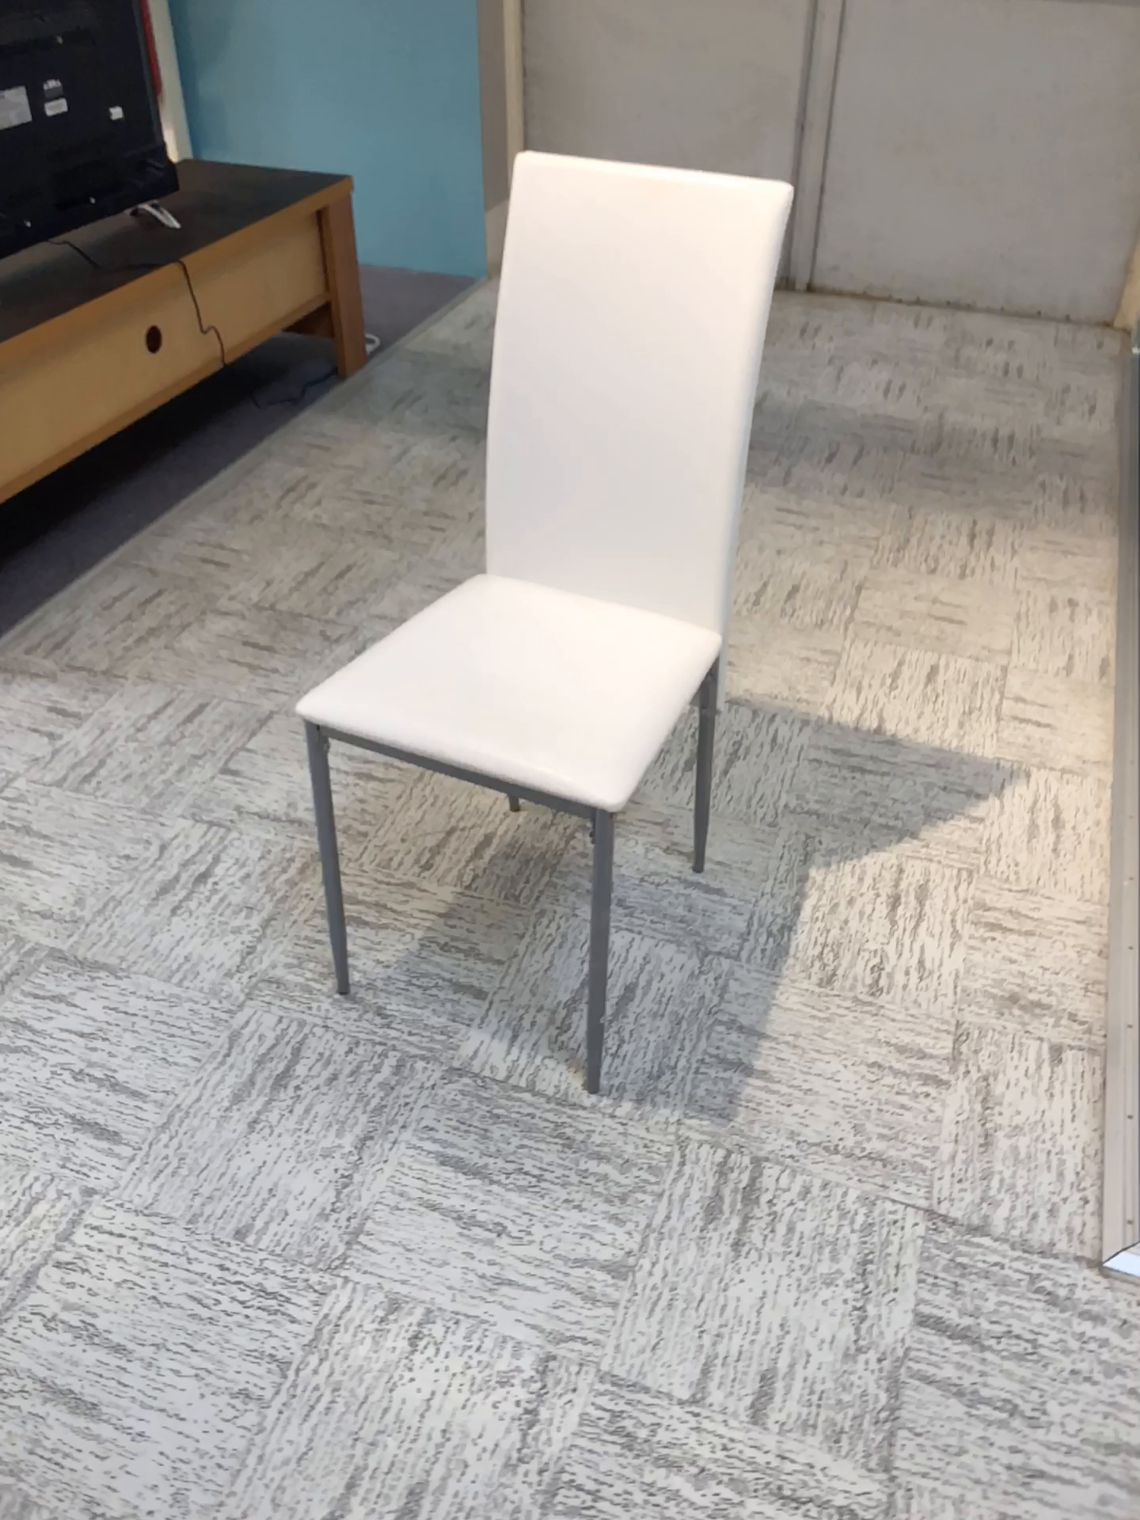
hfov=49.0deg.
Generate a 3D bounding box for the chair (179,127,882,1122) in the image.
[{"bbox_3d":[-0.010,-0.160,1.488,0.470,0.944,0.554,18,40,21],"label":"chair"}]
